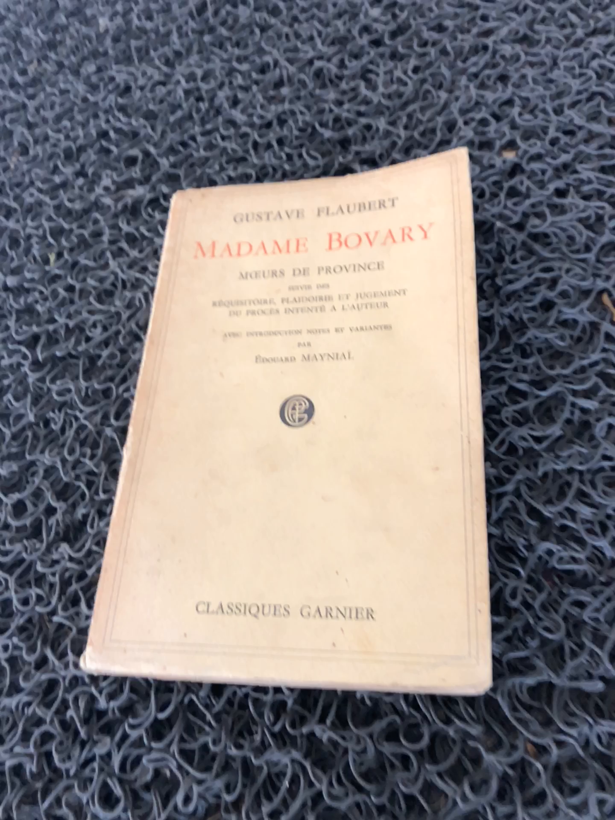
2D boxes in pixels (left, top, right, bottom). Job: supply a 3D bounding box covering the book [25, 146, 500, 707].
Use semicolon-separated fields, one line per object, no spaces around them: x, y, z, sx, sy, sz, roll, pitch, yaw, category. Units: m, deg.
-0.006;-0.004;0.230;0.124;0.035;0.181;-1;63;11;book
